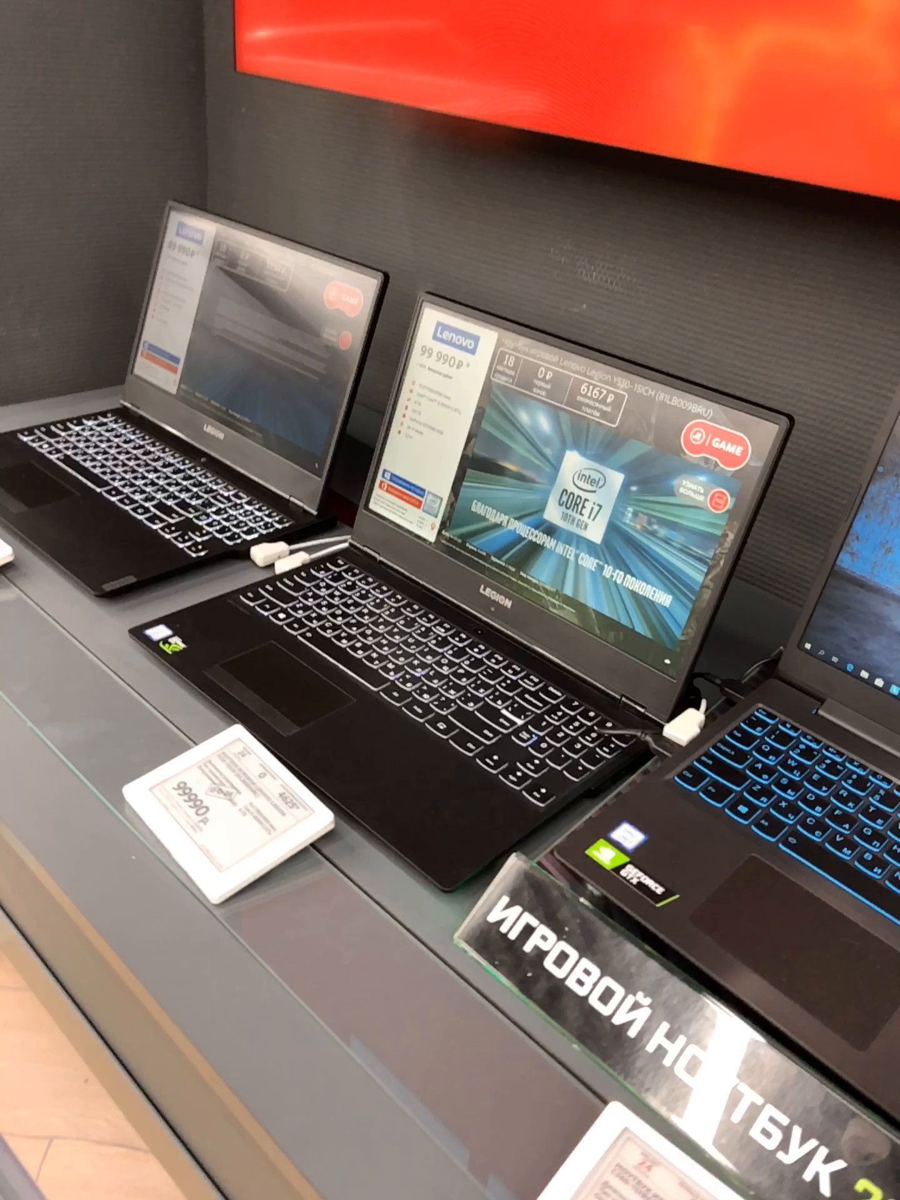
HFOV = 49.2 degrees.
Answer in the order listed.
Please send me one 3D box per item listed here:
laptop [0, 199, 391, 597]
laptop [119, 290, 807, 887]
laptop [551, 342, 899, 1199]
[{"bbox_3d":[-0.299,-0.228,0.960,0.354,0.223,0.315,29,38,33],"label":"laptop"},{"bbox_3d":[-0.005,-0.051,0.719,0.353,0.225,0.301,30,39,35],"label":"laptop"},{"bbox_3d":[0.316,0.063,0.512,0.335,0.225,0.355,-26,43,-36],"label":"laptop"}]
